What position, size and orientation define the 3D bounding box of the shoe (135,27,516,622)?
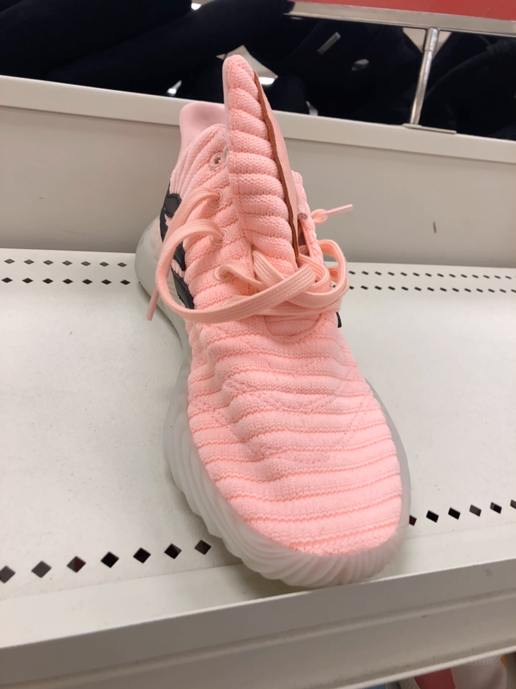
[{"bbox_3d":[0.007,-0.057,0.314,0.120,0.169,0.323,0,32,-16],"label":"shoe"}]
